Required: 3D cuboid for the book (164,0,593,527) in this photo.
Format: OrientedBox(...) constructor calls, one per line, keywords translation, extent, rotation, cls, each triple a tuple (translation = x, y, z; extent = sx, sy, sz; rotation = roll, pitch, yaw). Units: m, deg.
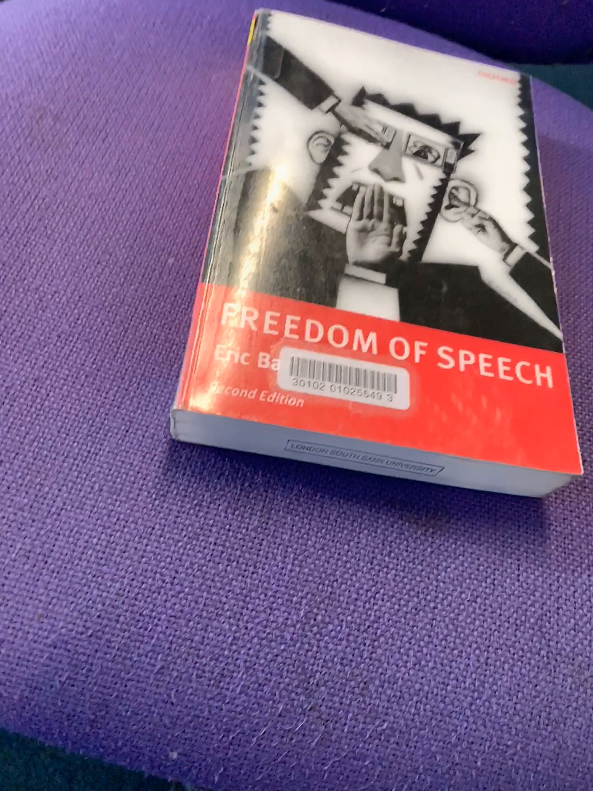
OrientedBox(translation=(0.041, -0.077, 0.298), extent=(0.160, 0.050, 0.252), rotation=(11, 60, -10), cls="book")
